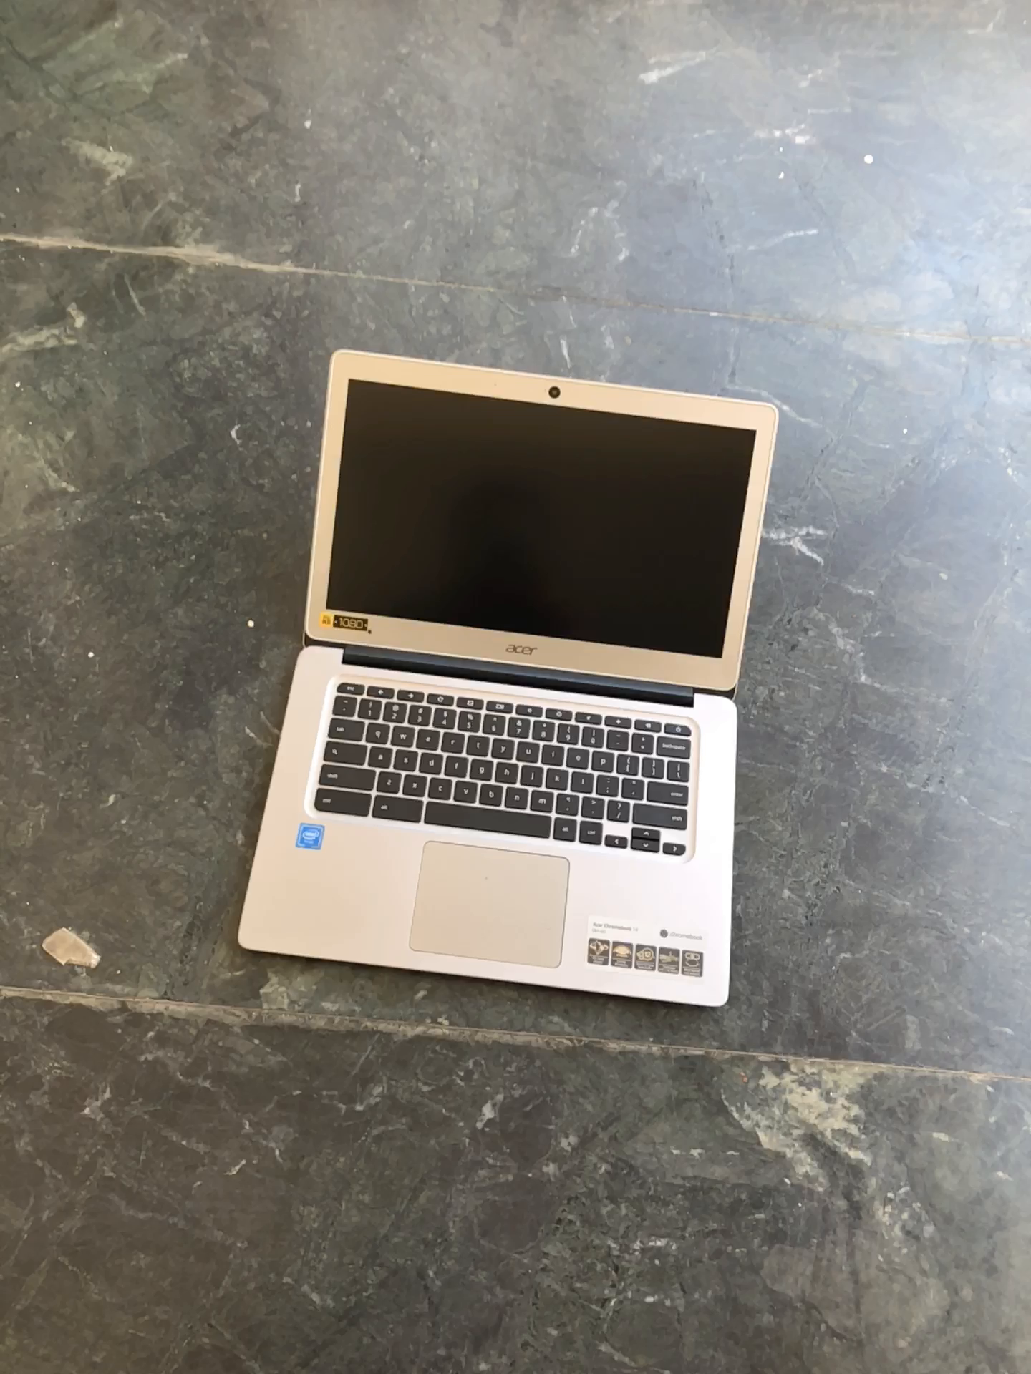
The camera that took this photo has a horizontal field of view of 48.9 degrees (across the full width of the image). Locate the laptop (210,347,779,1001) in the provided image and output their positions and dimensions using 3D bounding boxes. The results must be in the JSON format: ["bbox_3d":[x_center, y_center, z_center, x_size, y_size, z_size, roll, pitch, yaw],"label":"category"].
[{"bbox_3d":[0.005,-0.019,0.819,0.338,0.117,0.425,7,66,0],"label":"laptop"}]
